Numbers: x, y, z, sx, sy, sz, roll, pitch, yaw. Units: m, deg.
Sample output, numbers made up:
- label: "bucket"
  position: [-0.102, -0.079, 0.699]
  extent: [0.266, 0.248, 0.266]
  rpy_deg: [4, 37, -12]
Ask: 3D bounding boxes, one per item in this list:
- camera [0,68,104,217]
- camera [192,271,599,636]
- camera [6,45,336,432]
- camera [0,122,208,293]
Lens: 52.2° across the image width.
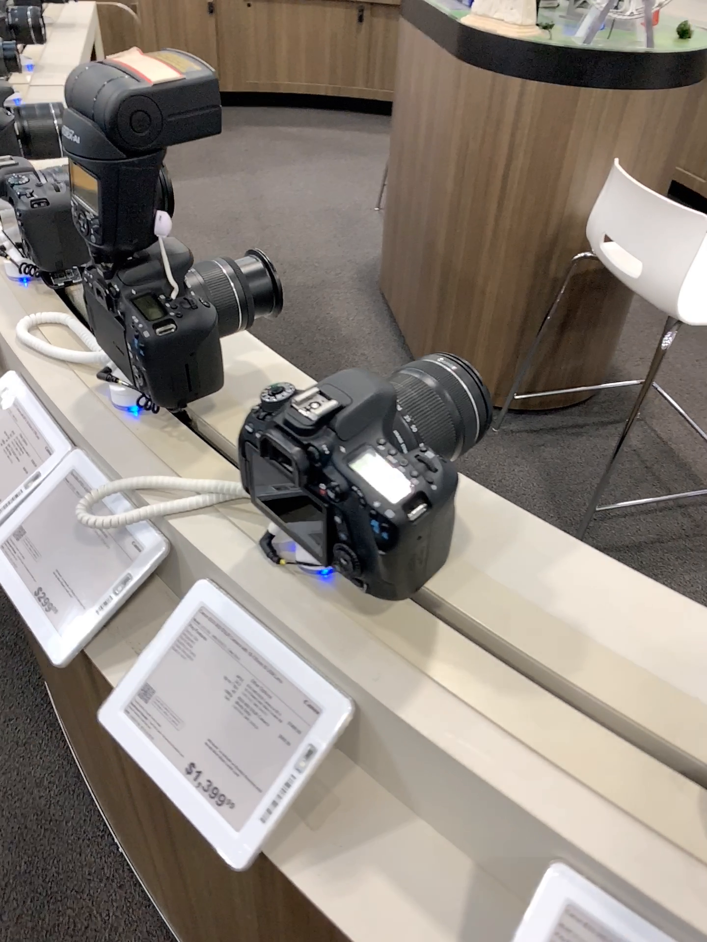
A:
- label: "camera"
  position: [-0.430, -0.421, 0.915]
  extent: [0.170, 0.119, 0.151]
  rpy_deg: [-17, 45, -22]
- label: "camera"
  position: [0.026, -0.025, 0.445]
  extent: [0.190, 0.099, 0.141]
  rpy_deg: [-31, 51, -33]
- label: "camera"
  position: [-0.130, -0.185, 0.564]
  extent: [0.170, 0.219, 0.151]
  rpy_deg: [-25, 49, -29]
- label: "camera"
  position: [-0.284, -0.291, 0.777]
  extent: [0.200, 0.099, 0.141]
  rpy_deg: [-25, 49, -29]
